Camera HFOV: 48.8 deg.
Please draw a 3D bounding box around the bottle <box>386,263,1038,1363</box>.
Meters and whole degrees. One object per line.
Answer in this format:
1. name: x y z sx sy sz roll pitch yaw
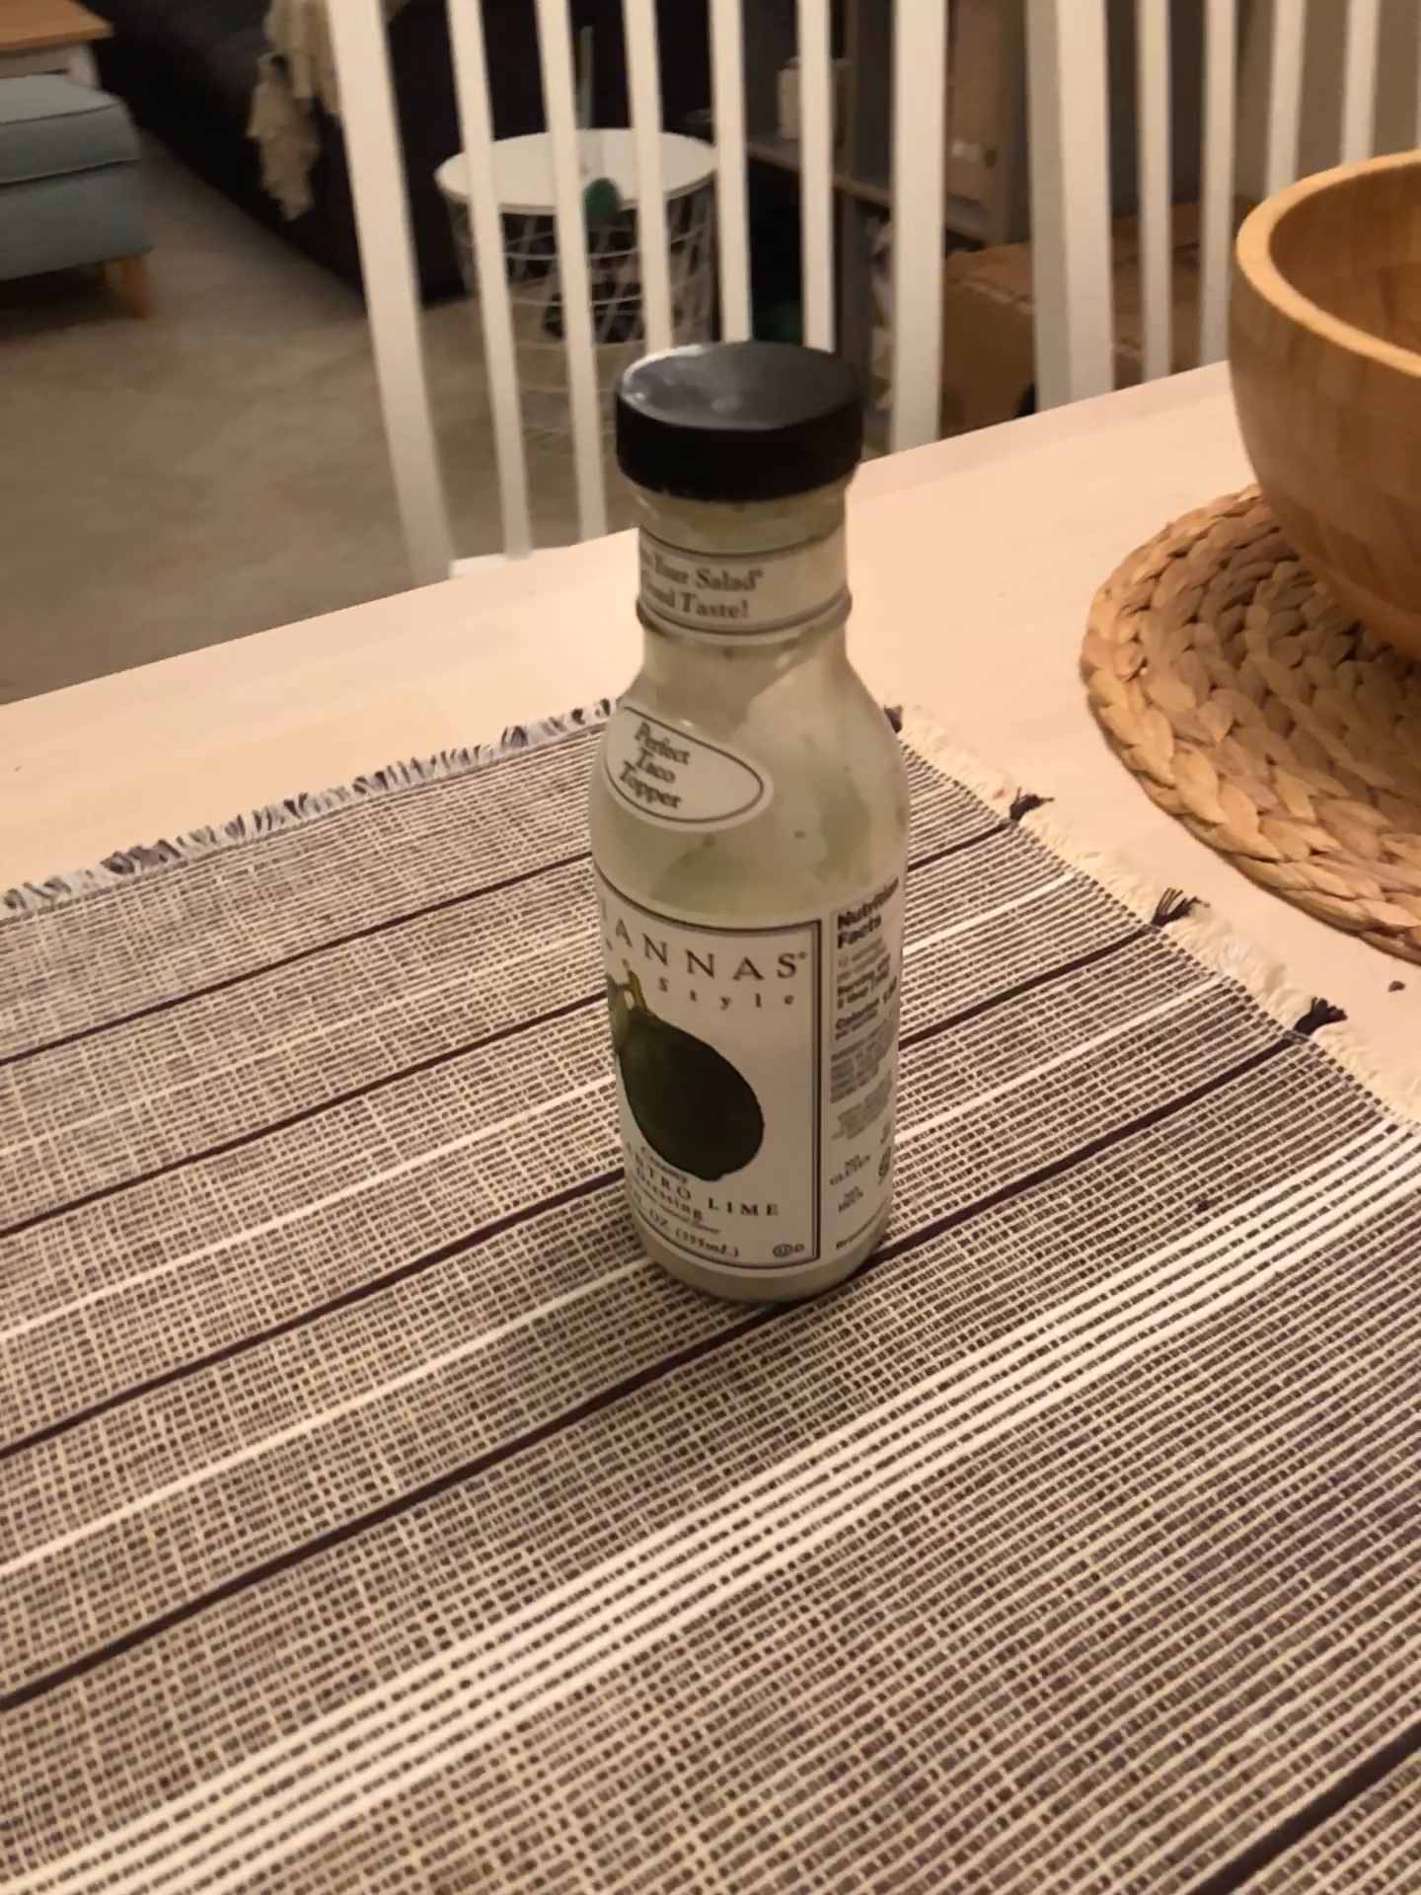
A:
1. bottle: 0.002 -0.019 0.302 0.070 0.186 0.075 -1 39 1
